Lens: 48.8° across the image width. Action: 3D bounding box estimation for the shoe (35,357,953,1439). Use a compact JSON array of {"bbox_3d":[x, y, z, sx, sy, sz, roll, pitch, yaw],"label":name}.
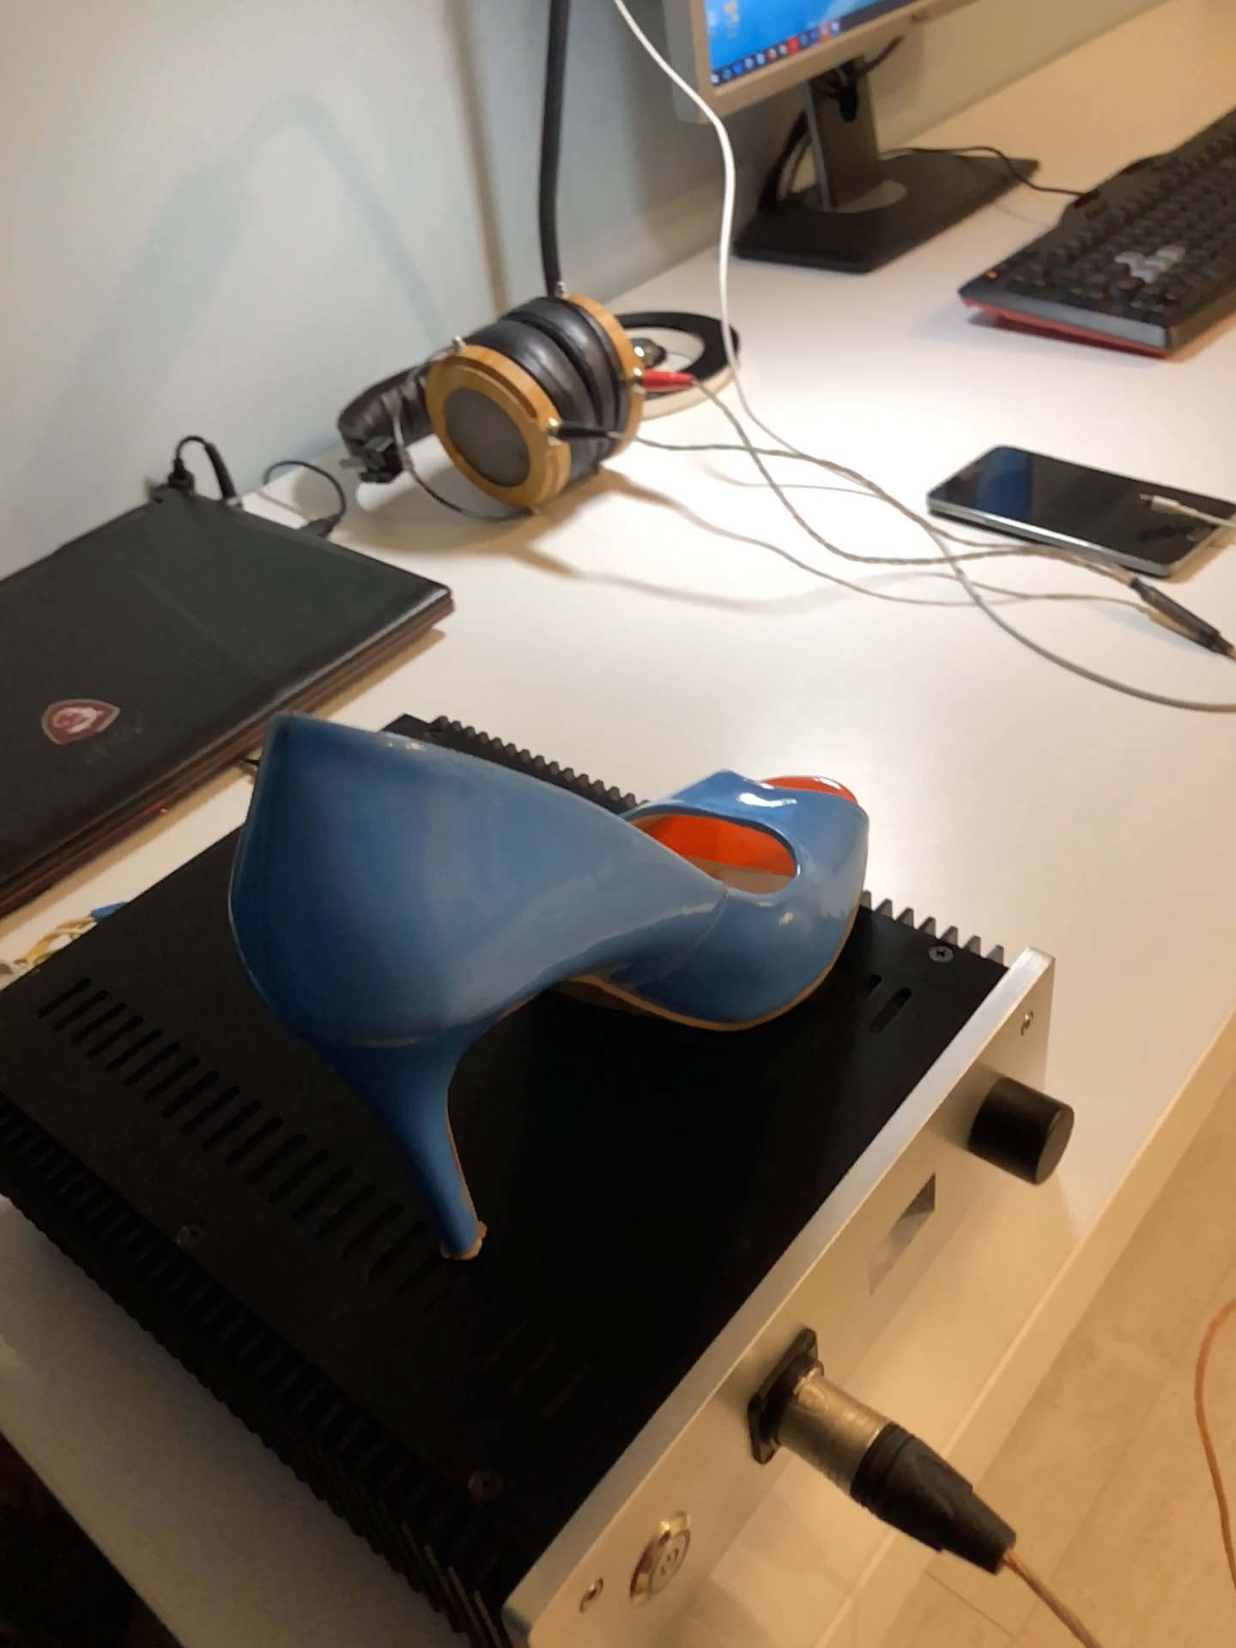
[{"bbox_3d":[-0.002,0.003,0.340,0.080,0.149,0.221,19,47,31],"label":"shoe"}]
